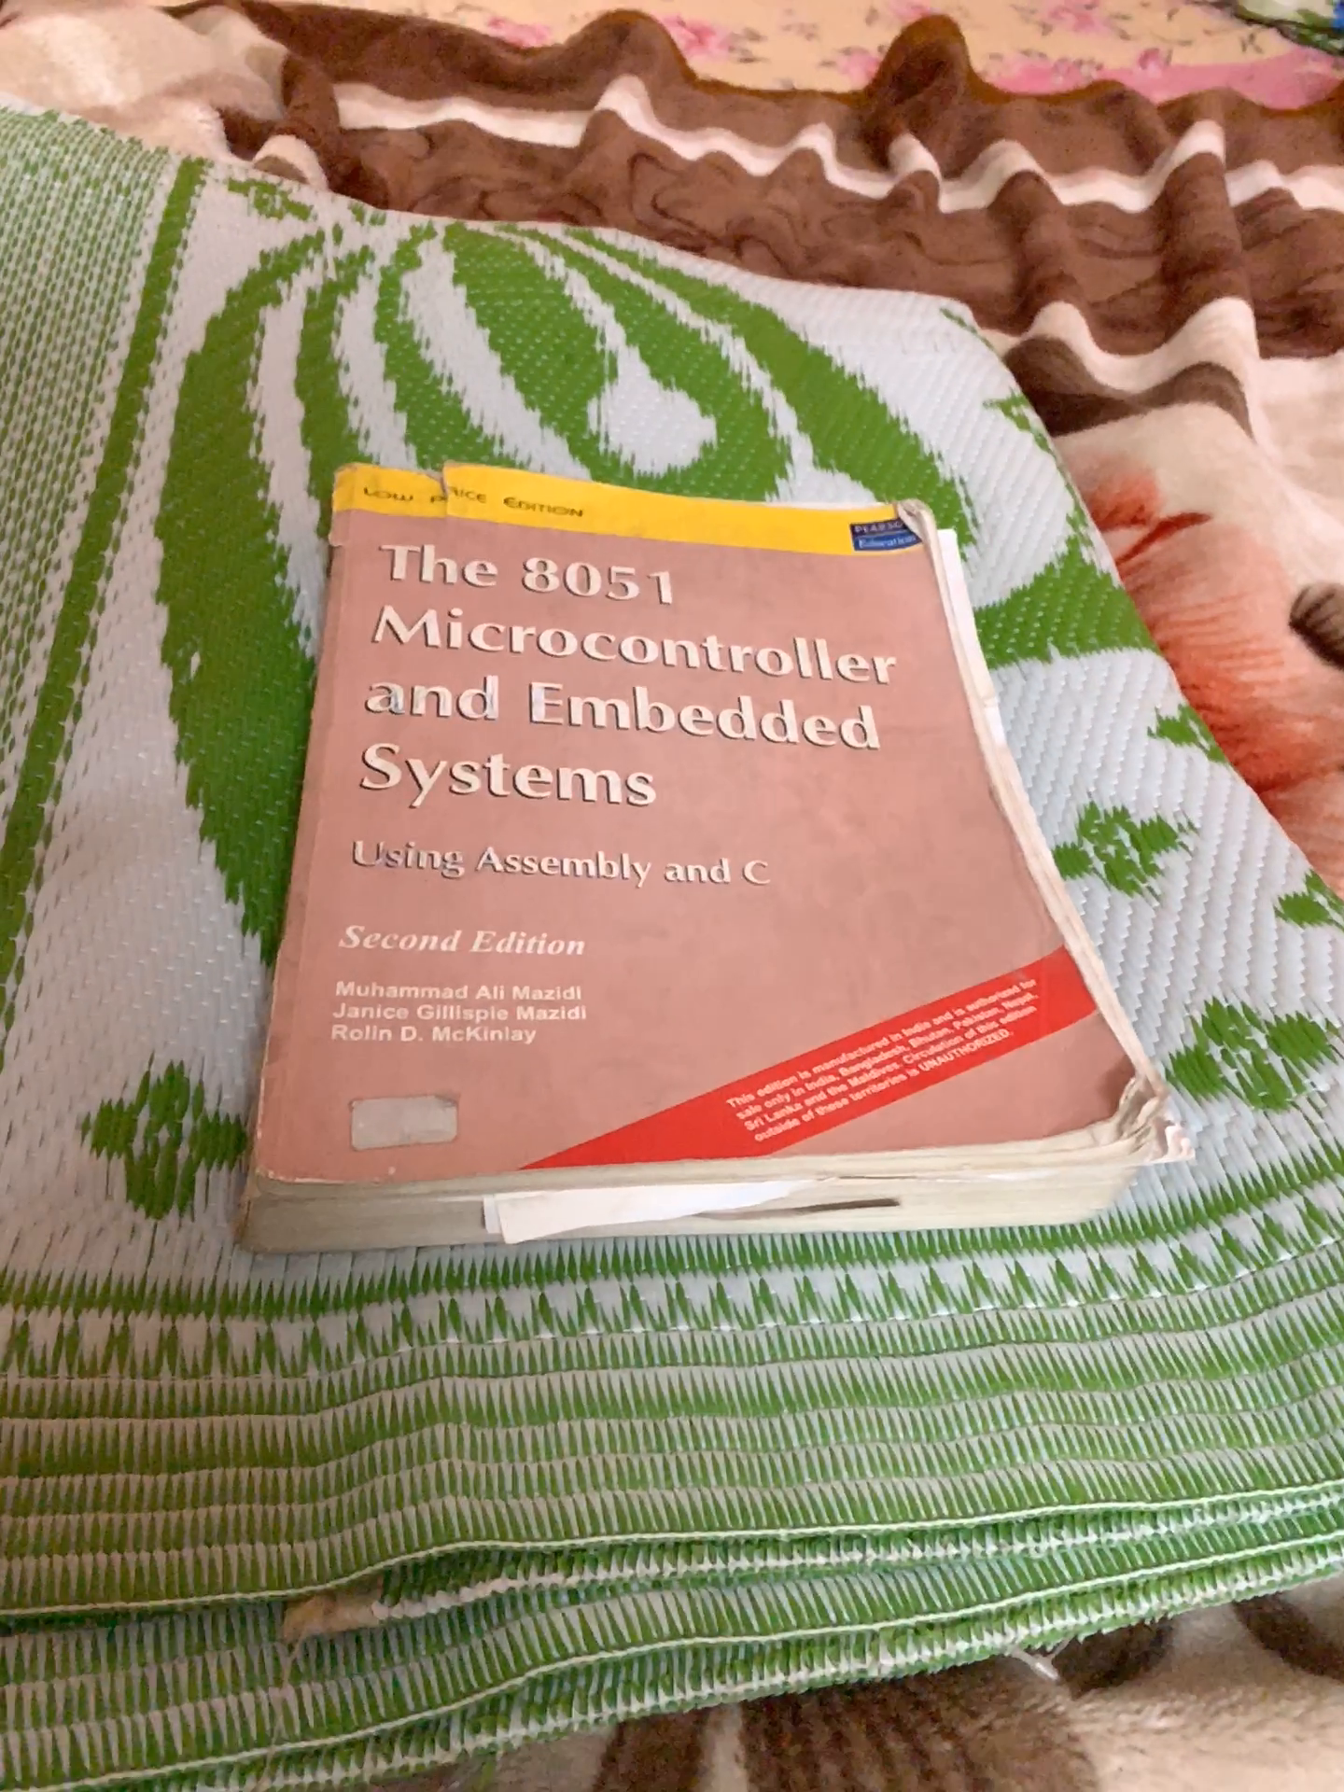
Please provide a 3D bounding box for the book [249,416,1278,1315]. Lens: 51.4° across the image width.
[{"bbox_3d":[0.011,-0.034,0.422,0.230,0.050,0.302,-1,51,-6],"label":"book"}]
